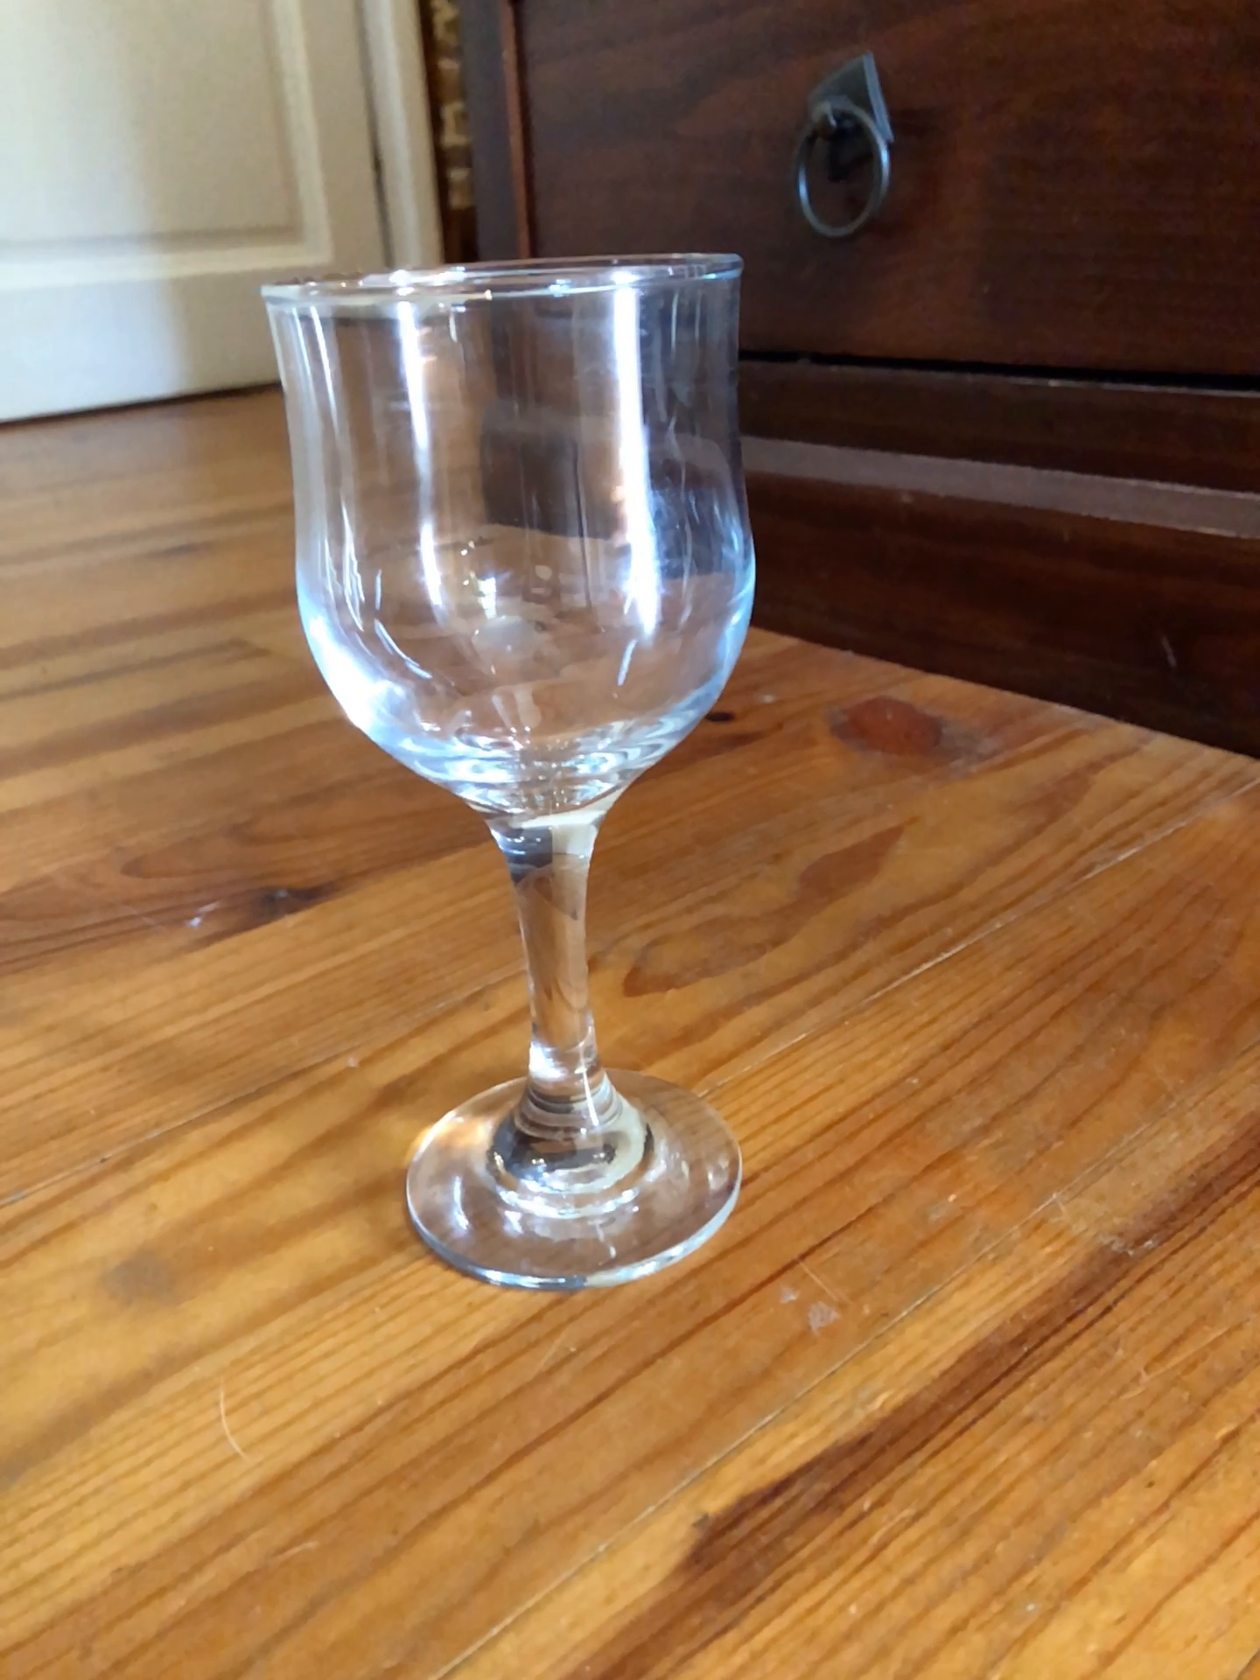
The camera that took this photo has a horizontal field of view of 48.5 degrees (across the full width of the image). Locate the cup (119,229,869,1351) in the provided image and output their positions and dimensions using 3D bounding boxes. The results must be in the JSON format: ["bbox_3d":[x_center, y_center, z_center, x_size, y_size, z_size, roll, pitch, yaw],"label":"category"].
[{"bbox_3d":[-0.010,-0.012,0.231,0.082,0.157,0.077,-3,23,1],"label":"cup"}]
